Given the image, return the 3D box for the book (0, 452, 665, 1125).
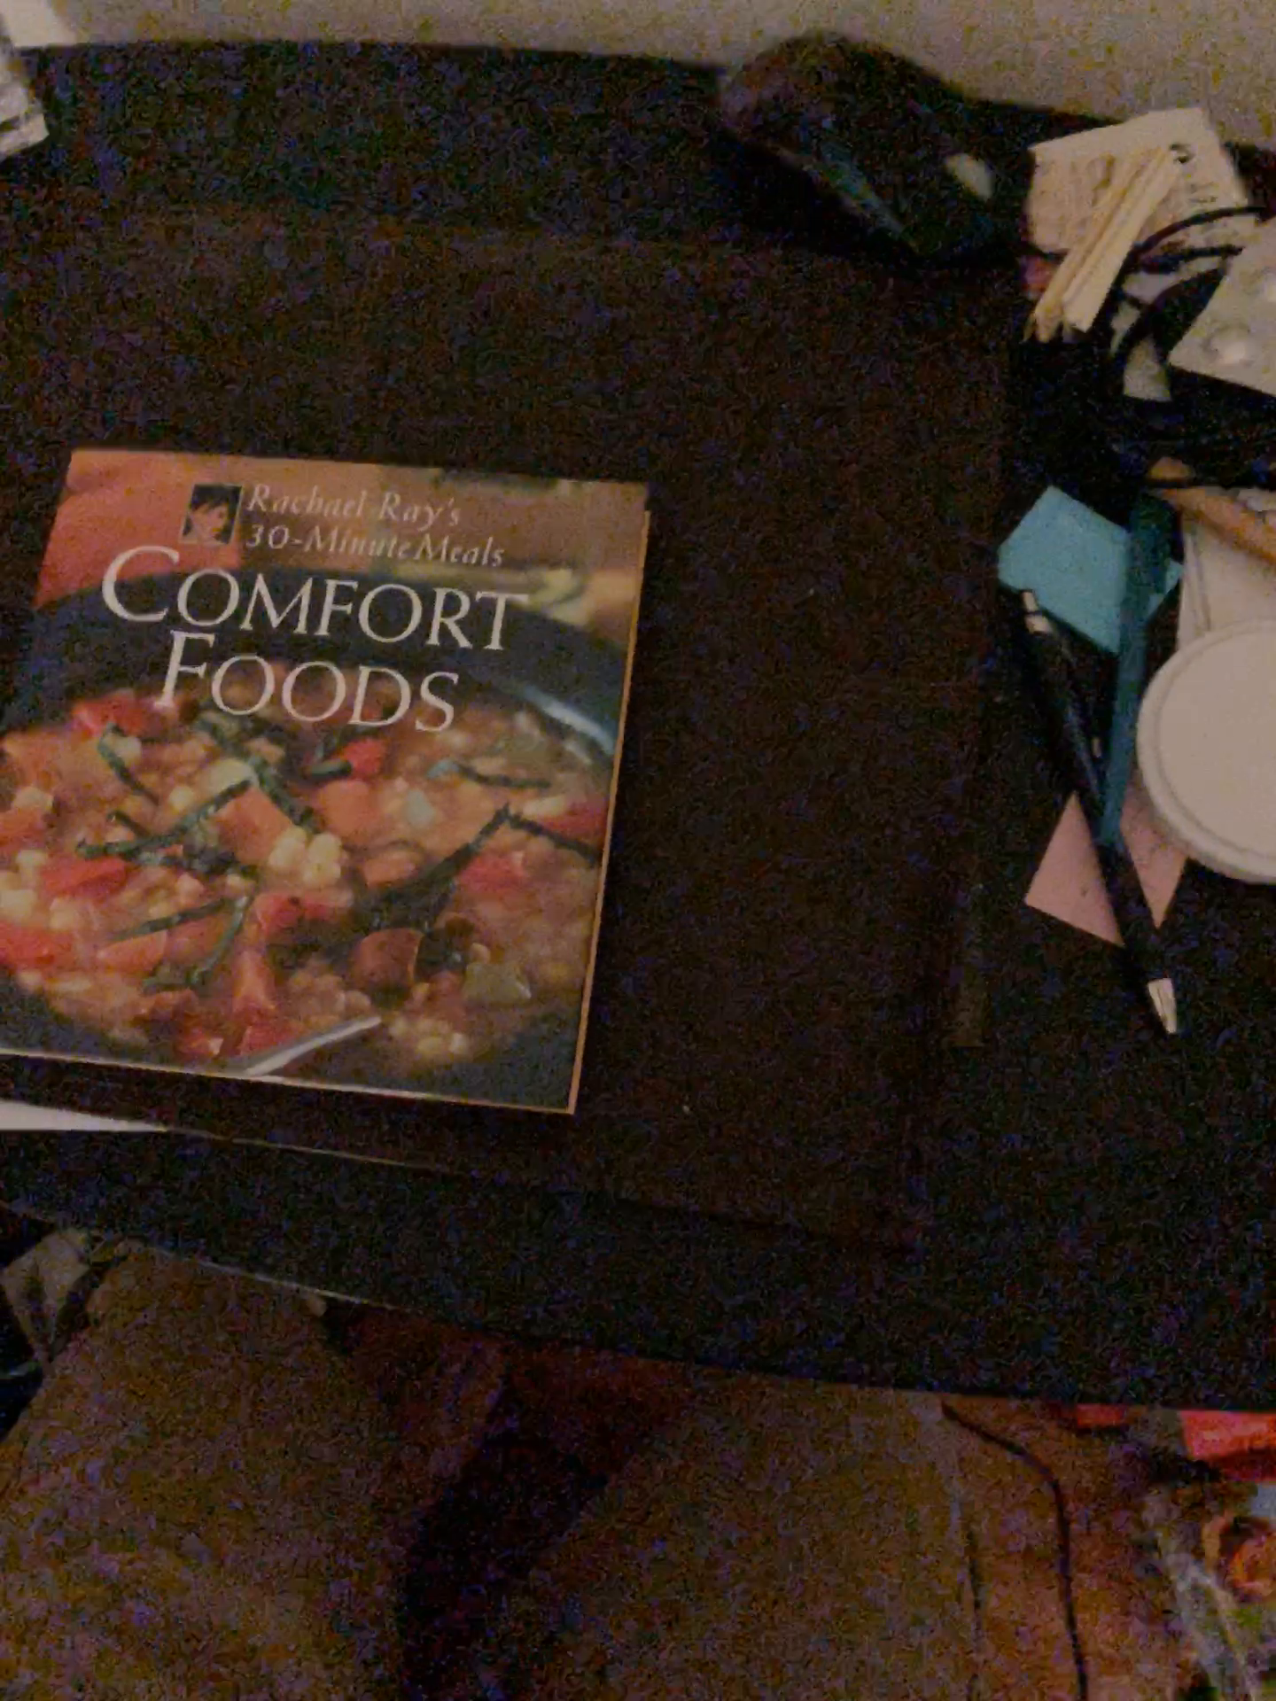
[{"bbox_3d":[-0.102,-0.027,0.412,0.200,0.020,0.200,5,74,7],"label":"book"}]
